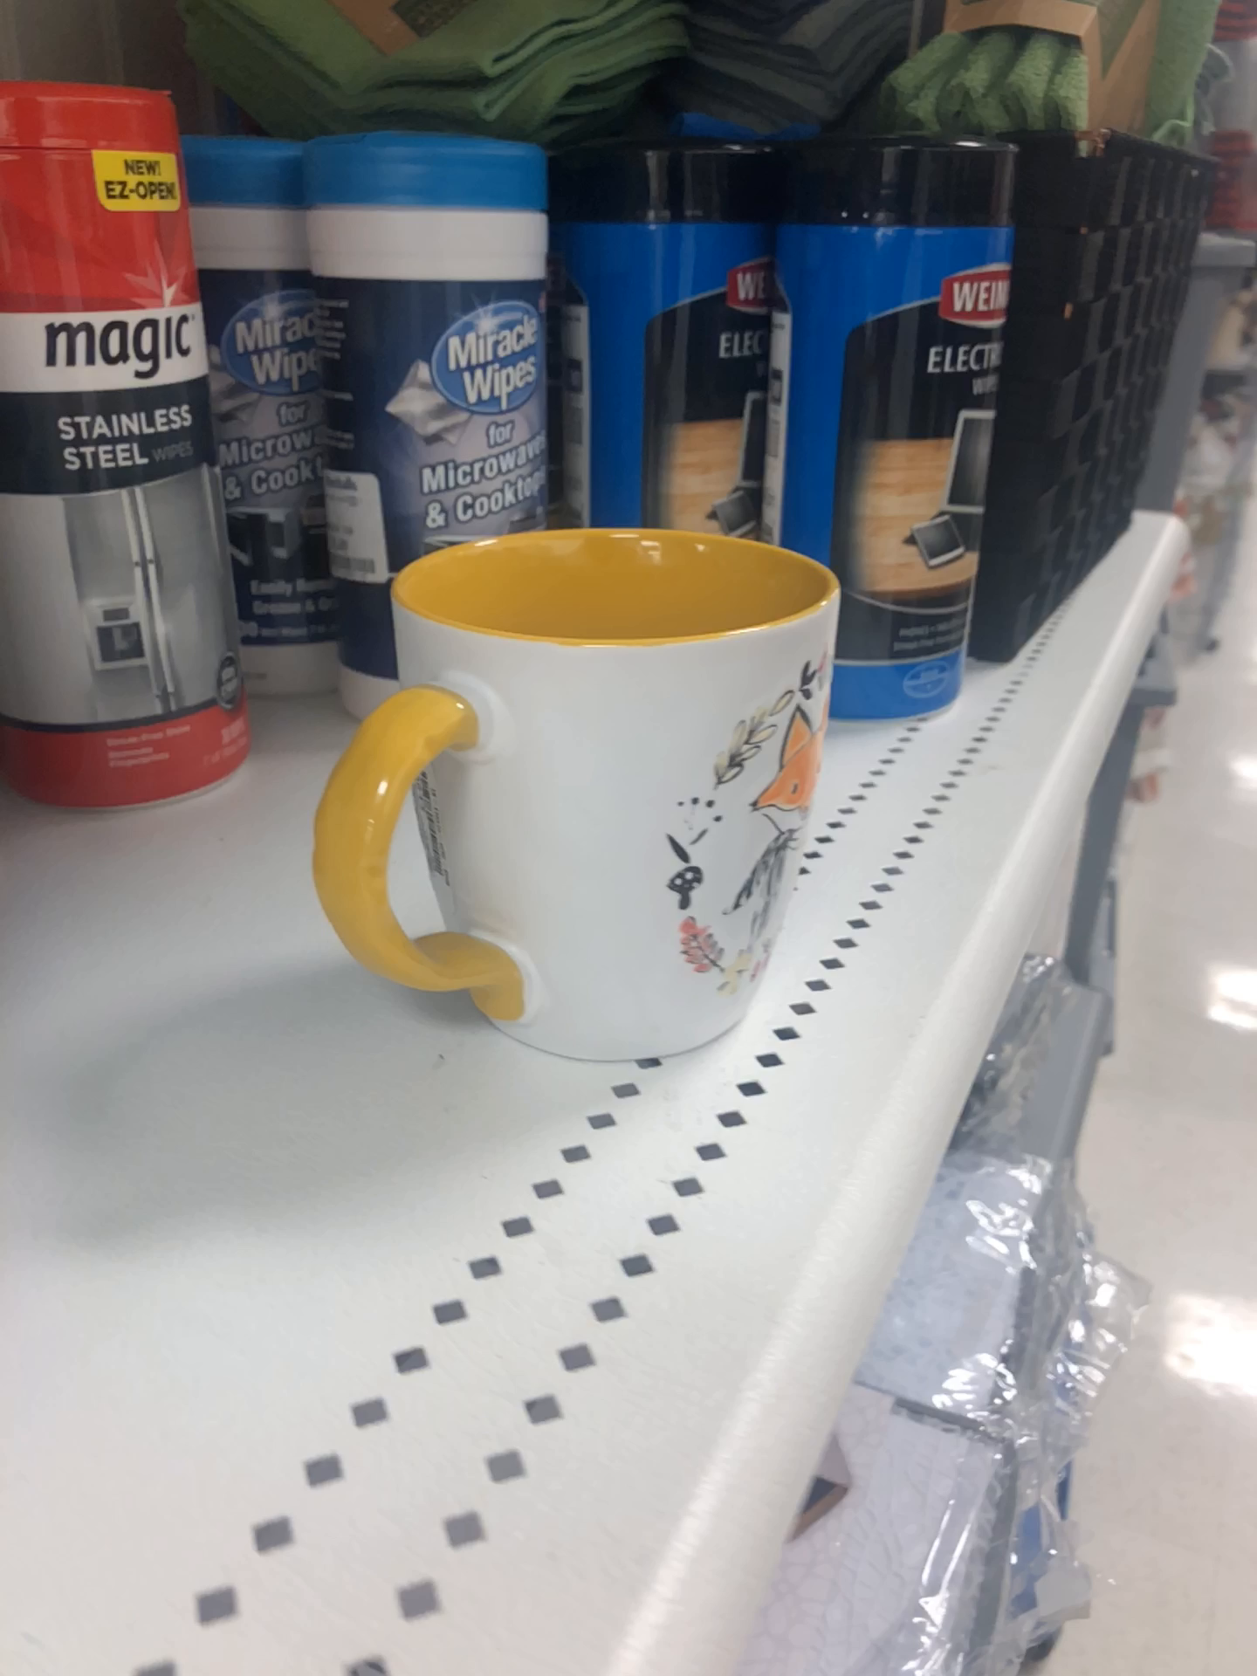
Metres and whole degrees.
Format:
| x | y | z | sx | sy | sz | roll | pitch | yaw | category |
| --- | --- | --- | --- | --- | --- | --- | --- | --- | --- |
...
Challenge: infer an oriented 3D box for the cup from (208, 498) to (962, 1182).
| x | y | z | sx | sy | sz | roll | pitch | yaw | category |
| --- | --- | --- | --- | --- | --- | --- | --- | --- | --- |
| -0.003 | -0.014 | 0.312 | 0.099 | 0.093 | 0.134 | 15 | 28 | 31 | cup |
